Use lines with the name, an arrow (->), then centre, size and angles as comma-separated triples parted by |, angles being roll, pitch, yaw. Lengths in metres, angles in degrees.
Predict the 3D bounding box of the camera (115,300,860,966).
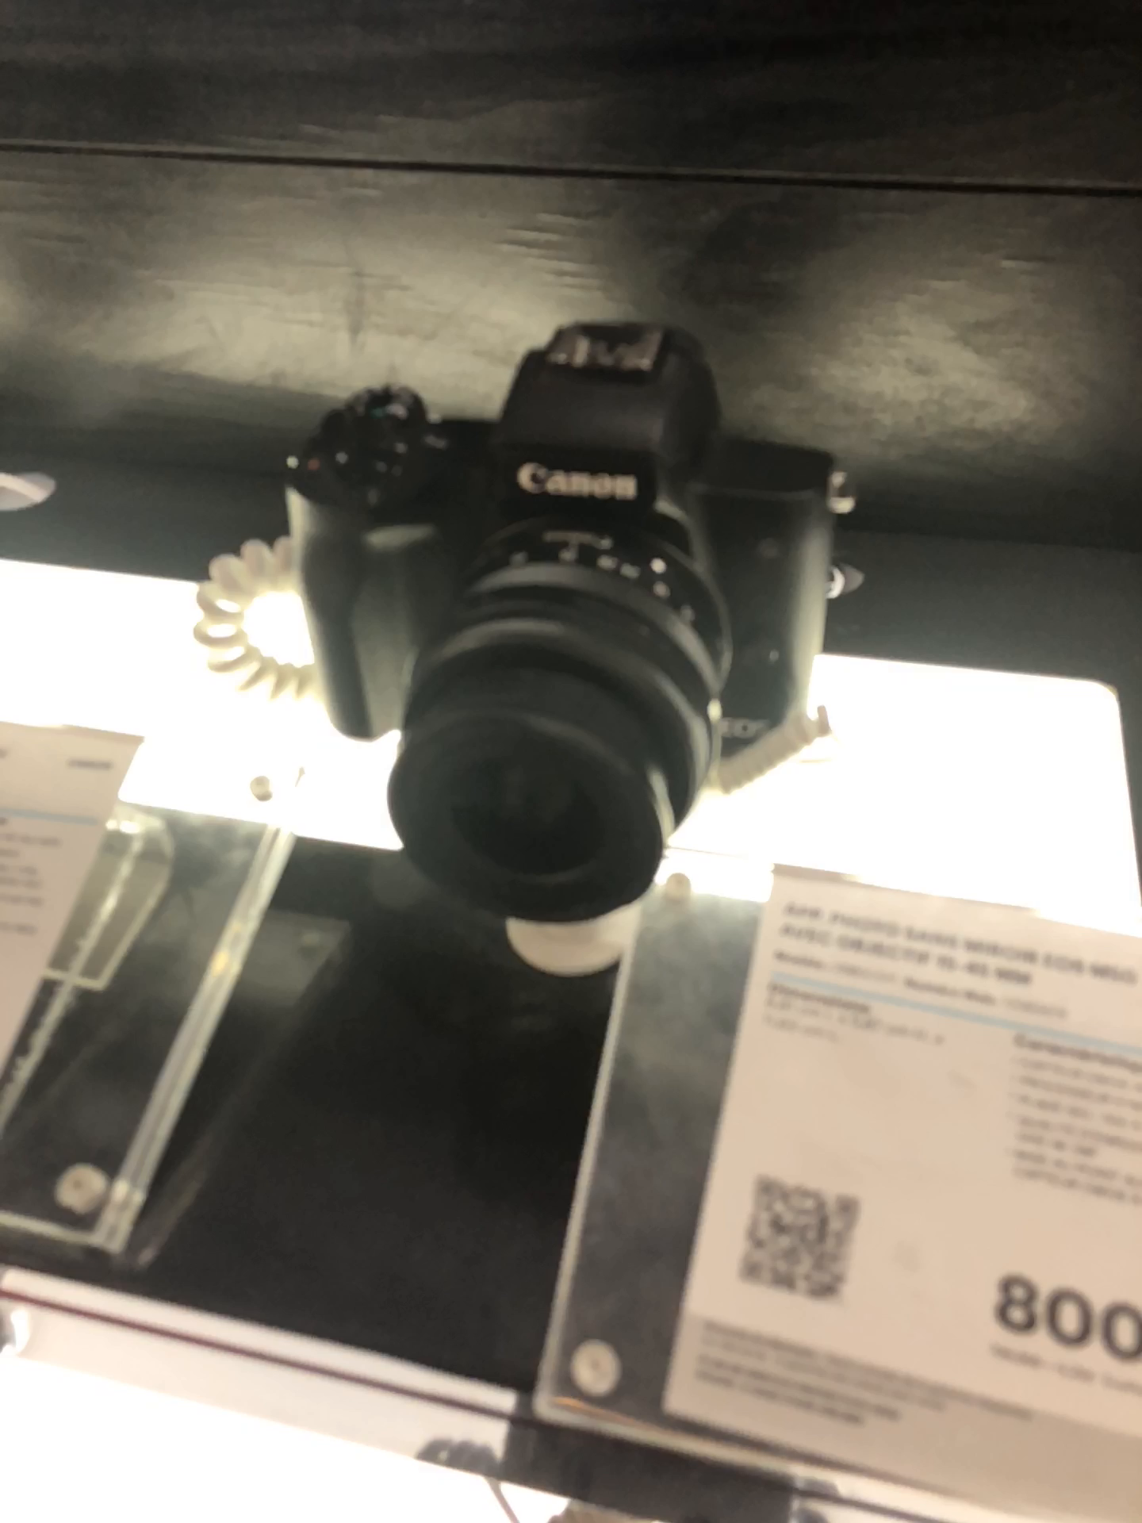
camera -> -0.007, -0.033, 0.266 | 0.119, 0.089, 0.101 | 7, 41, 12
